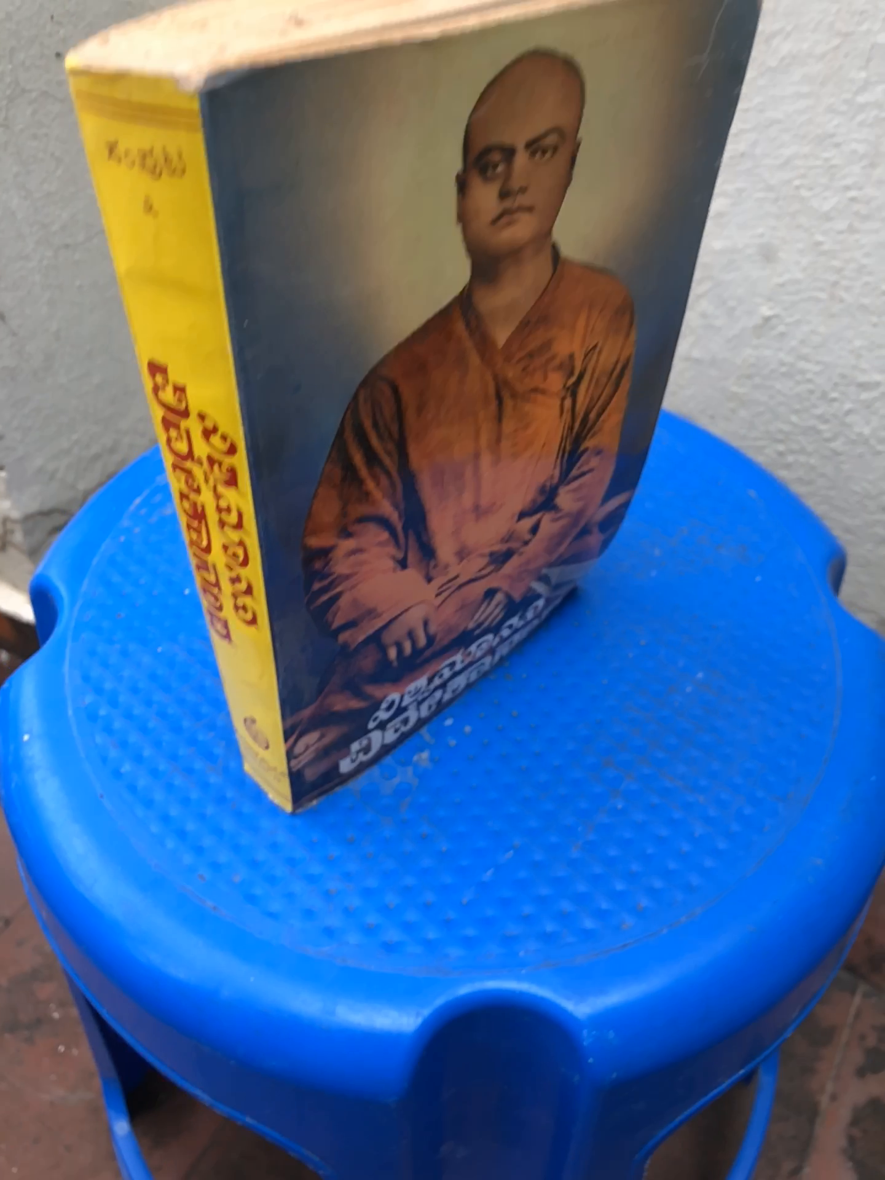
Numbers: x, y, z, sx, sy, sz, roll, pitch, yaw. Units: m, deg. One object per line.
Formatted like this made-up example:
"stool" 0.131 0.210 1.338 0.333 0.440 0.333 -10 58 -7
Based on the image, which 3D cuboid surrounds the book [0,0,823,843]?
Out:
"book" 0.006 -0.058 0.274 0.191 0.199 0.050 -33 53 -30
